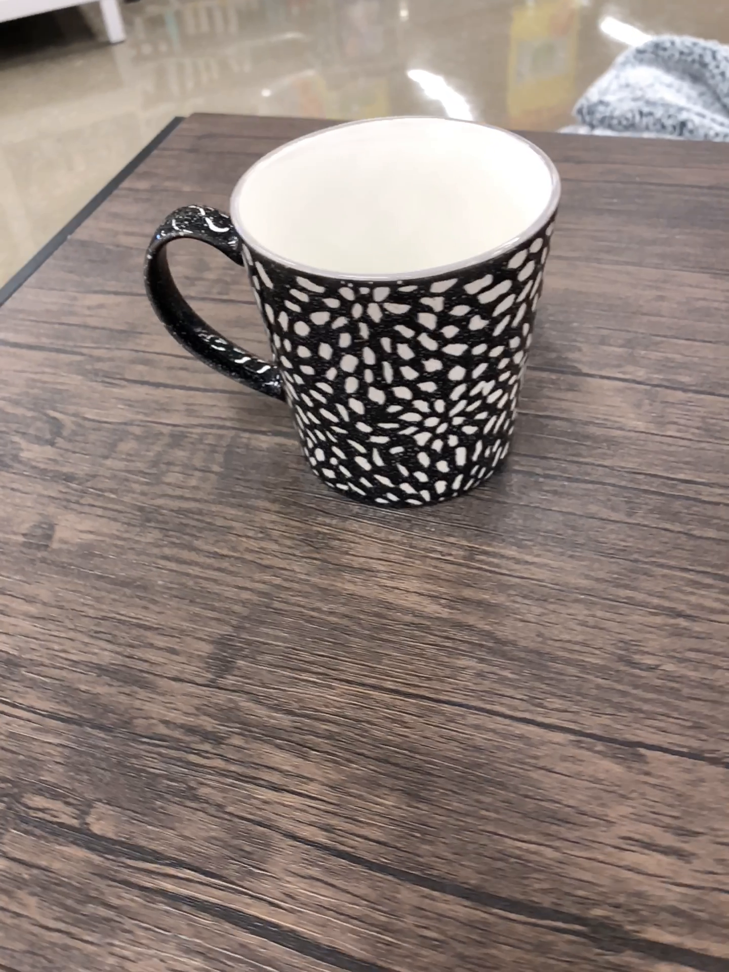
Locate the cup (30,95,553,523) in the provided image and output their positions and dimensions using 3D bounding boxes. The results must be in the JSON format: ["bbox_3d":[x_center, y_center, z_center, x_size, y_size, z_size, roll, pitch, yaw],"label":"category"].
[{"bbox_3d":[-0.011,-0.062,0.282,0.140,0.100,0.100,4,47,9],"label":"cup"}]
